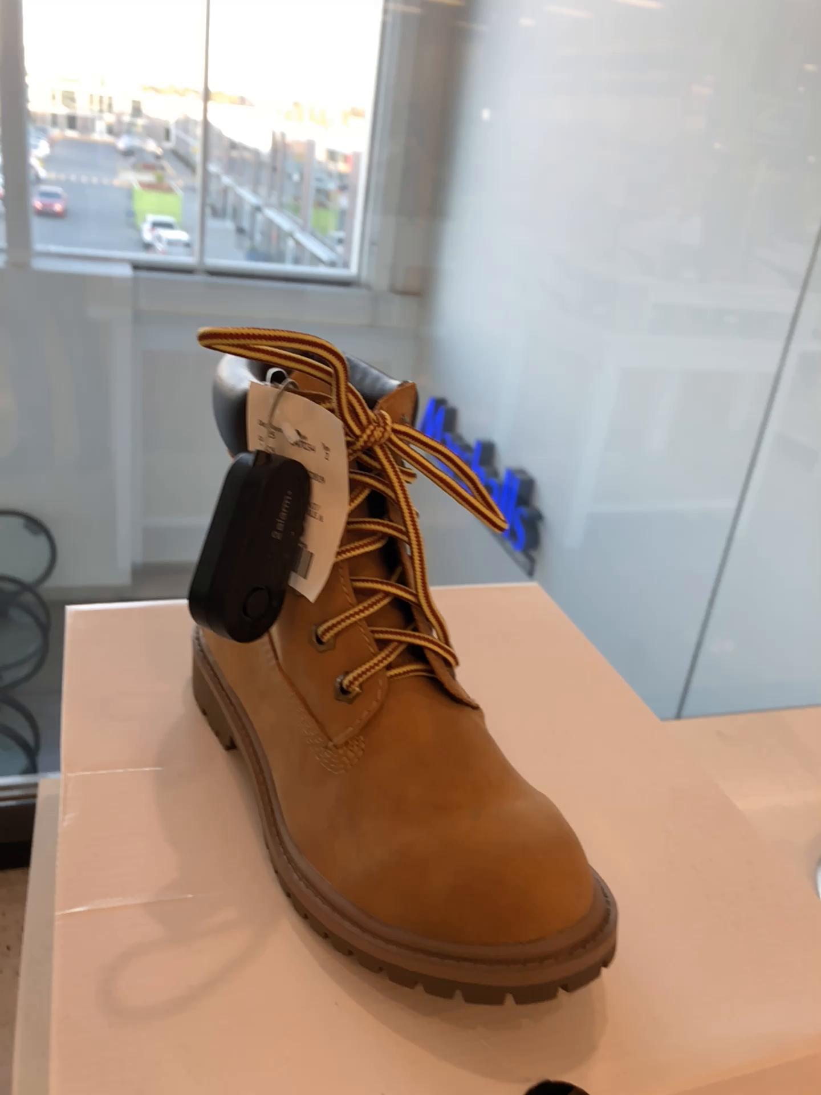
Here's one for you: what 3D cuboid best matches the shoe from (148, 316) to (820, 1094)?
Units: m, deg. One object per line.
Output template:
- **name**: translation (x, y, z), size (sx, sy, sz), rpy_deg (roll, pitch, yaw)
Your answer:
- **shoe**: translation (-0.007, 0.026, 0.341), size (0.107, 0.169, 0.241), rpy_deg (-8, 29, -32)
